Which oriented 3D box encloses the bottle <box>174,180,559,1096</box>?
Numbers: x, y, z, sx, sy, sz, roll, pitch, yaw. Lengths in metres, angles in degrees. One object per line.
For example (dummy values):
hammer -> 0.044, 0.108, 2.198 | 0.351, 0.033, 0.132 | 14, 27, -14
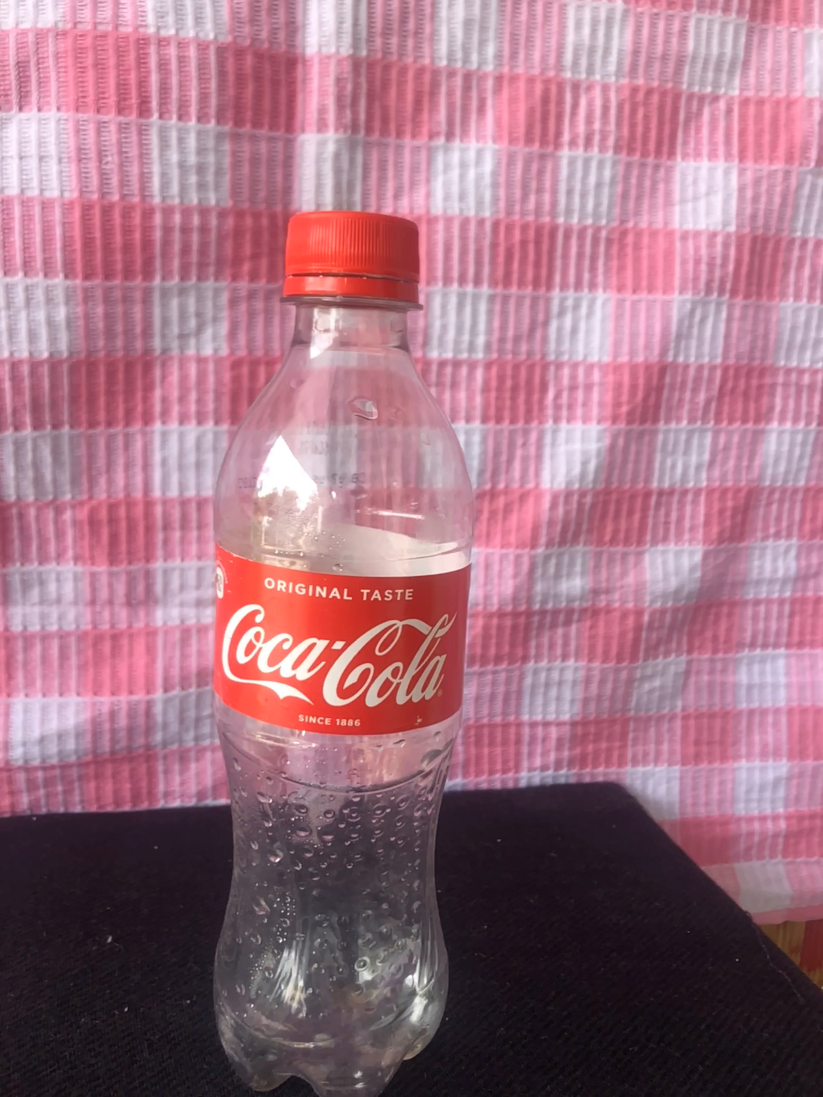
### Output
bottle -> -0.010, 0.024, 0.207 | 0.060, 0.189, 0.060 | 4, 13, -1
